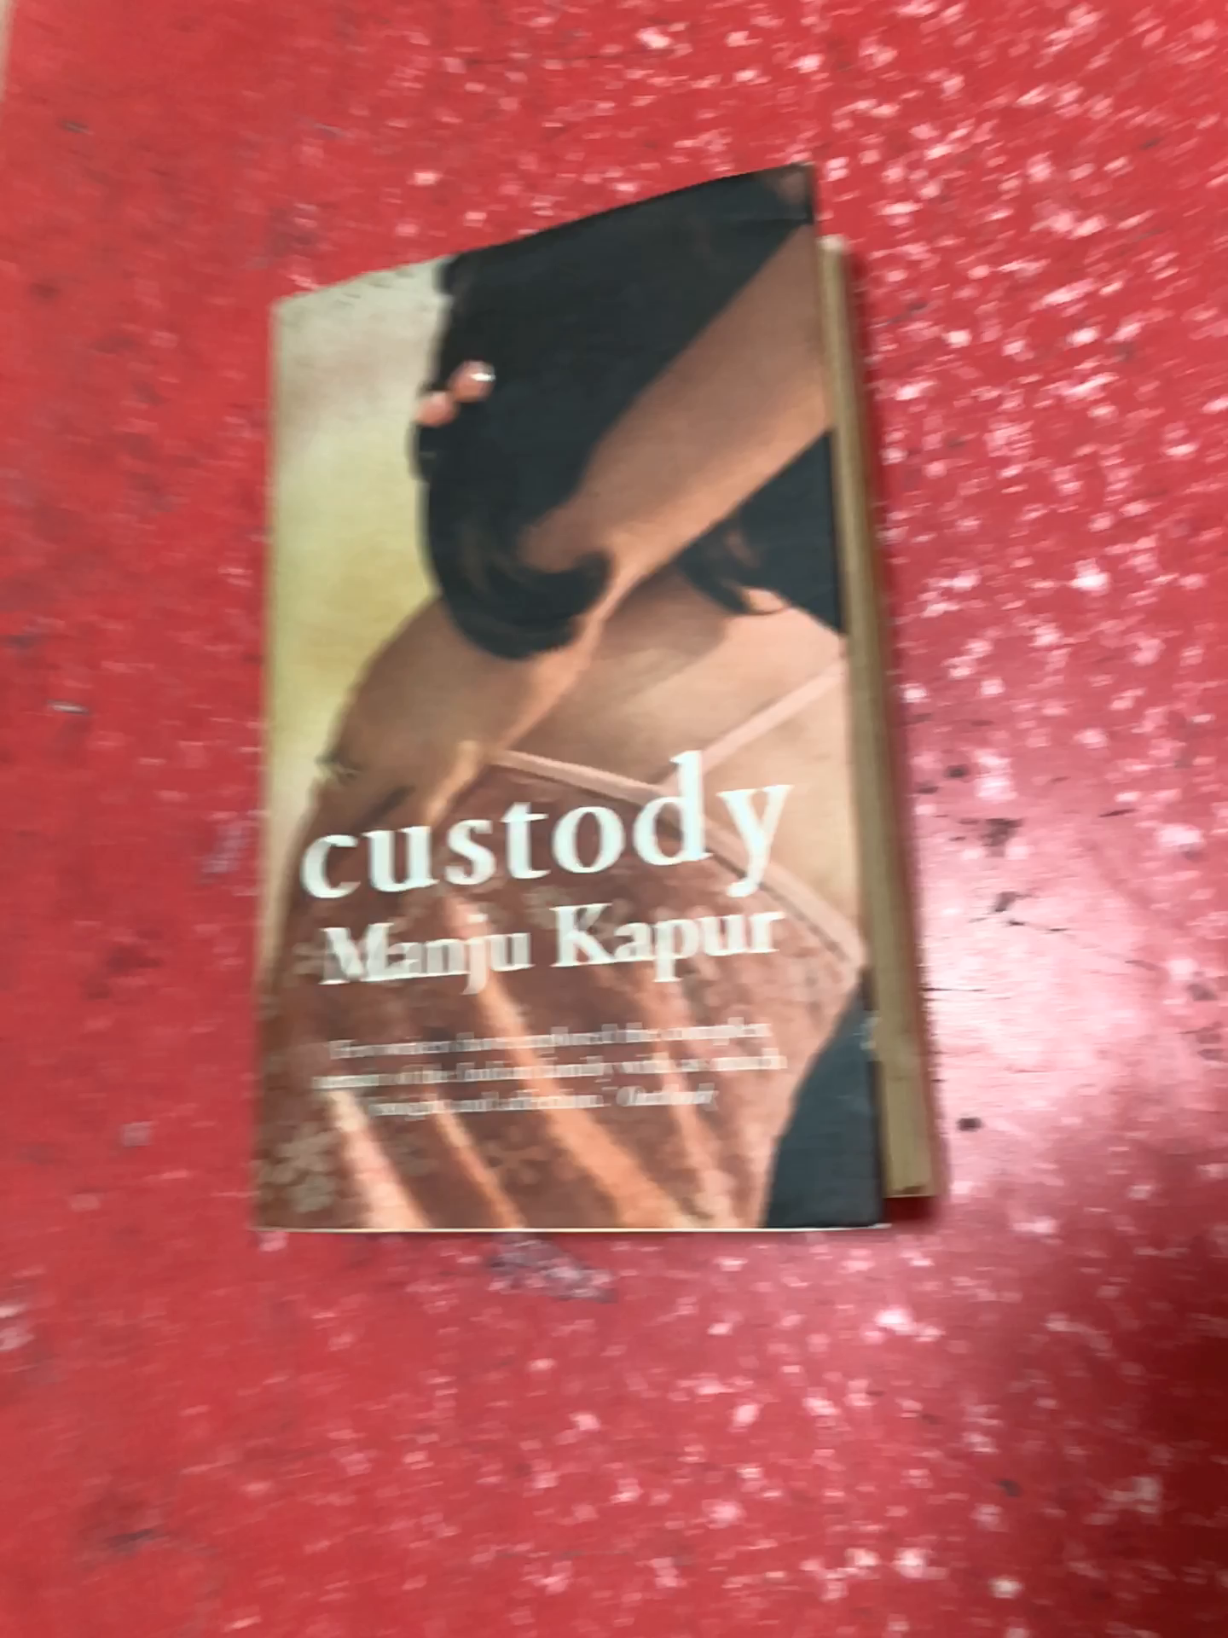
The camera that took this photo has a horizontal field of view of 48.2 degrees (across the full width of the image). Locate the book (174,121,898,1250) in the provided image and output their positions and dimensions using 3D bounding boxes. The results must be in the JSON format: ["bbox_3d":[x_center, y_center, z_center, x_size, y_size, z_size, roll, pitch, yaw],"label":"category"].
[{"bbox_3d":[-0.022,-0.024,0.299,0.140,0.040,0.220,-8,76,21],"label":"book"}]
